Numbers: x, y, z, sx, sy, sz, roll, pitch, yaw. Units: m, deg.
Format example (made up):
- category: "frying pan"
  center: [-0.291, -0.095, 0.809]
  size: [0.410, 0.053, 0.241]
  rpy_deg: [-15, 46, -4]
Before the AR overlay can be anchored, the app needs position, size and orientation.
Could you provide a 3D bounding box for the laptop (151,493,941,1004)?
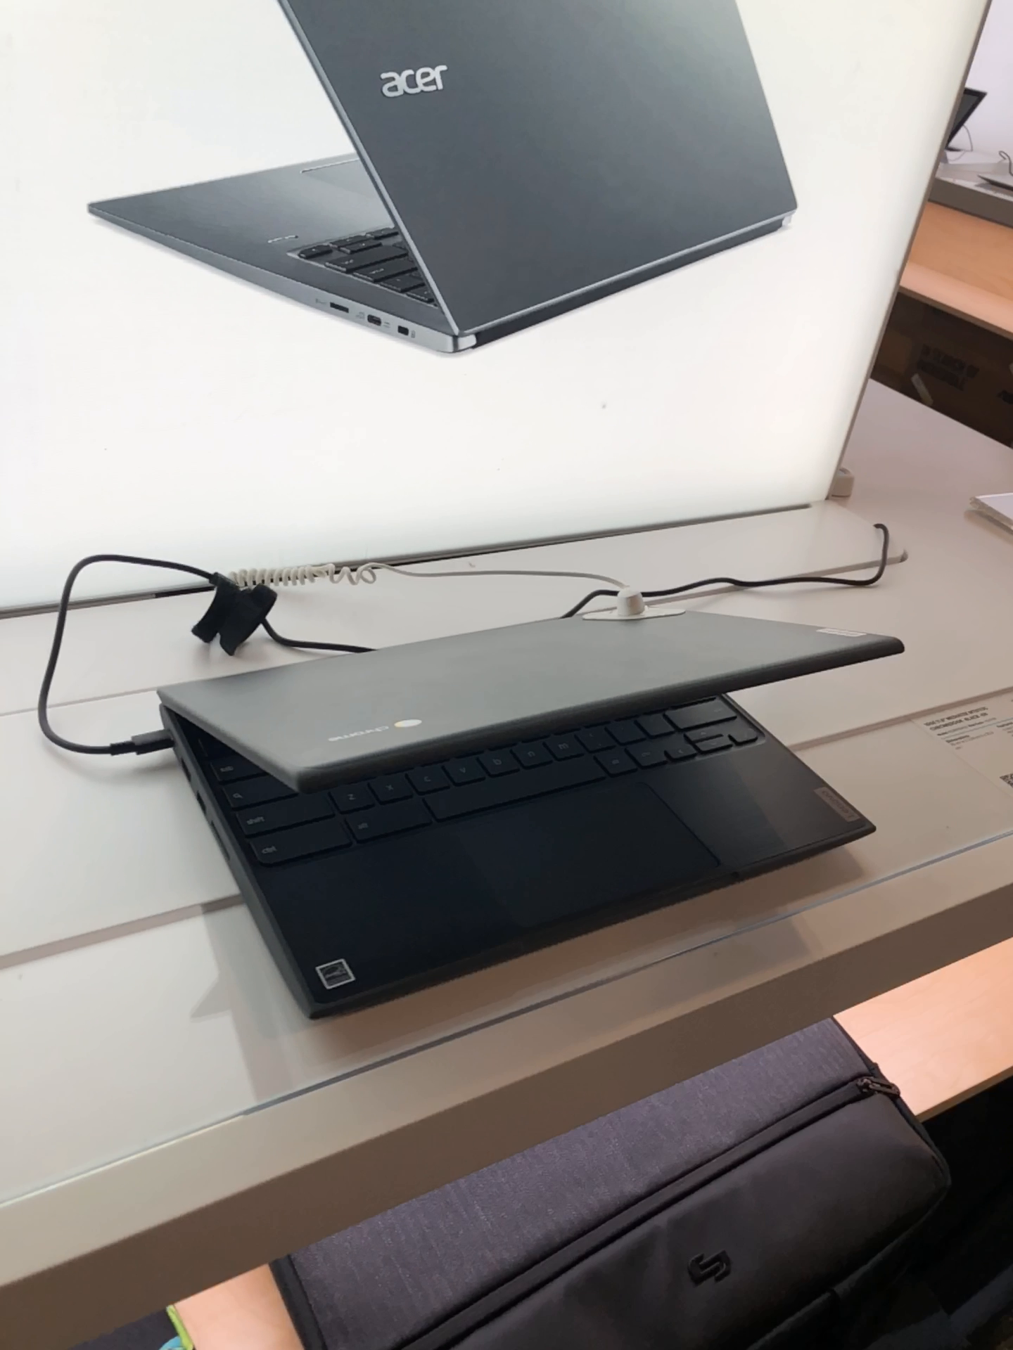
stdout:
- category: "laptop"
  center: [0.011, 0.009, 0.491]
  size: [0.277, 0.072, 0.186]
  rpy_deg: [-11, 41, -26]
